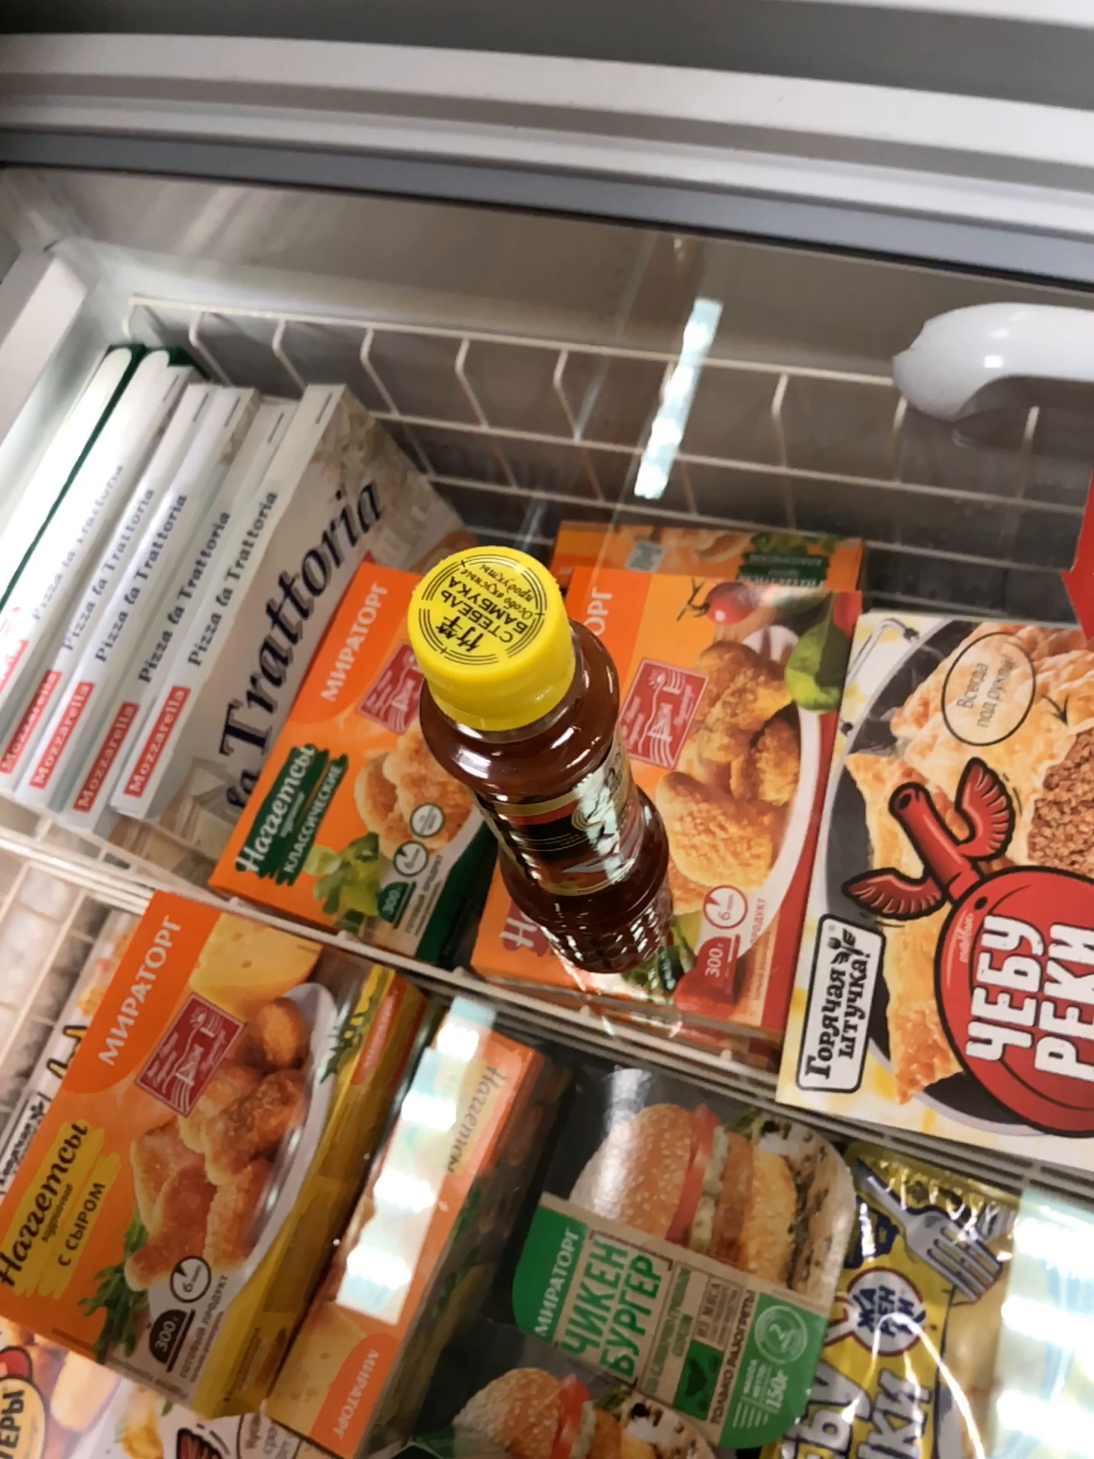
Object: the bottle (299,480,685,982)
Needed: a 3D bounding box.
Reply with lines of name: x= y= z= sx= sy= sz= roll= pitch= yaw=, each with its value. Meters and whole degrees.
bottle: x=0.001 y=0.017 z=0.328 sx=0.047 sy=0.213 sz=0.048 roll=-5 pitch=65 yaw=10
